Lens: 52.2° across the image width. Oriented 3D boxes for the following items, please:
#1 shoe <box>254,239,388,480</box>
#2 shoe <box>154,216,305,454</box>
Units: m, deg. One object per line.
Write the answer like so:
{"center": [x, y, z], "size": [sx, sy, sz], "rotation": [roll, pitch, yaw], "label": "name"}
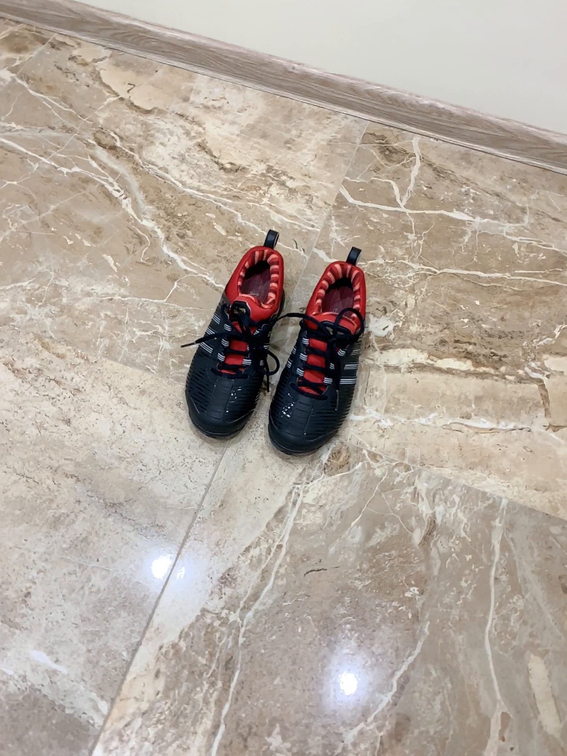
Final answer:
{"center": [0.048, -0.028, 0.702], "size": [0.095, 0.090, 0.271], "rotation": [15, 61, 5], "label": "shoe"}
{"center": [-0.057, -0.059, 0.705], "size": [0.095, 0.090, 0.271], "rotation": [15, 61, 5], "label": "shoe"}
